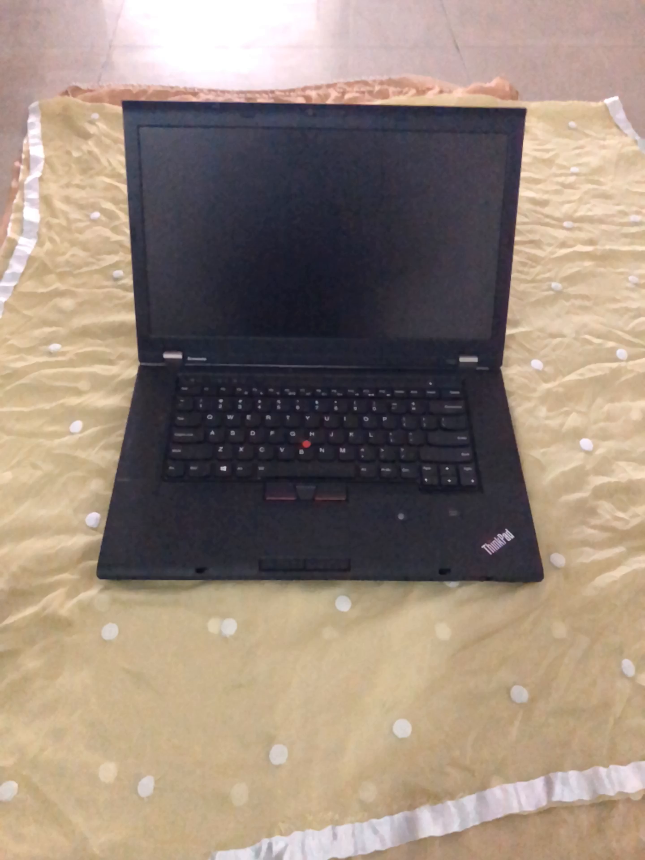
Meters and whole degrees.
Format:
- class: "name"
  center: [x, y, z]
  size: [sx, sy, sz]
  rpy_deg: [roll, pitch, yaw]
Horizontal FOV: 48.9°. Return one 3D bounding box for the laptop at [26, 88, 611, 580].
- class: "laptop"
  center: [-0.003, -0.093, 0.622]
  size: [0.363, 0.191, 0.382]
  rpy_deg: [1, 55, -1]
